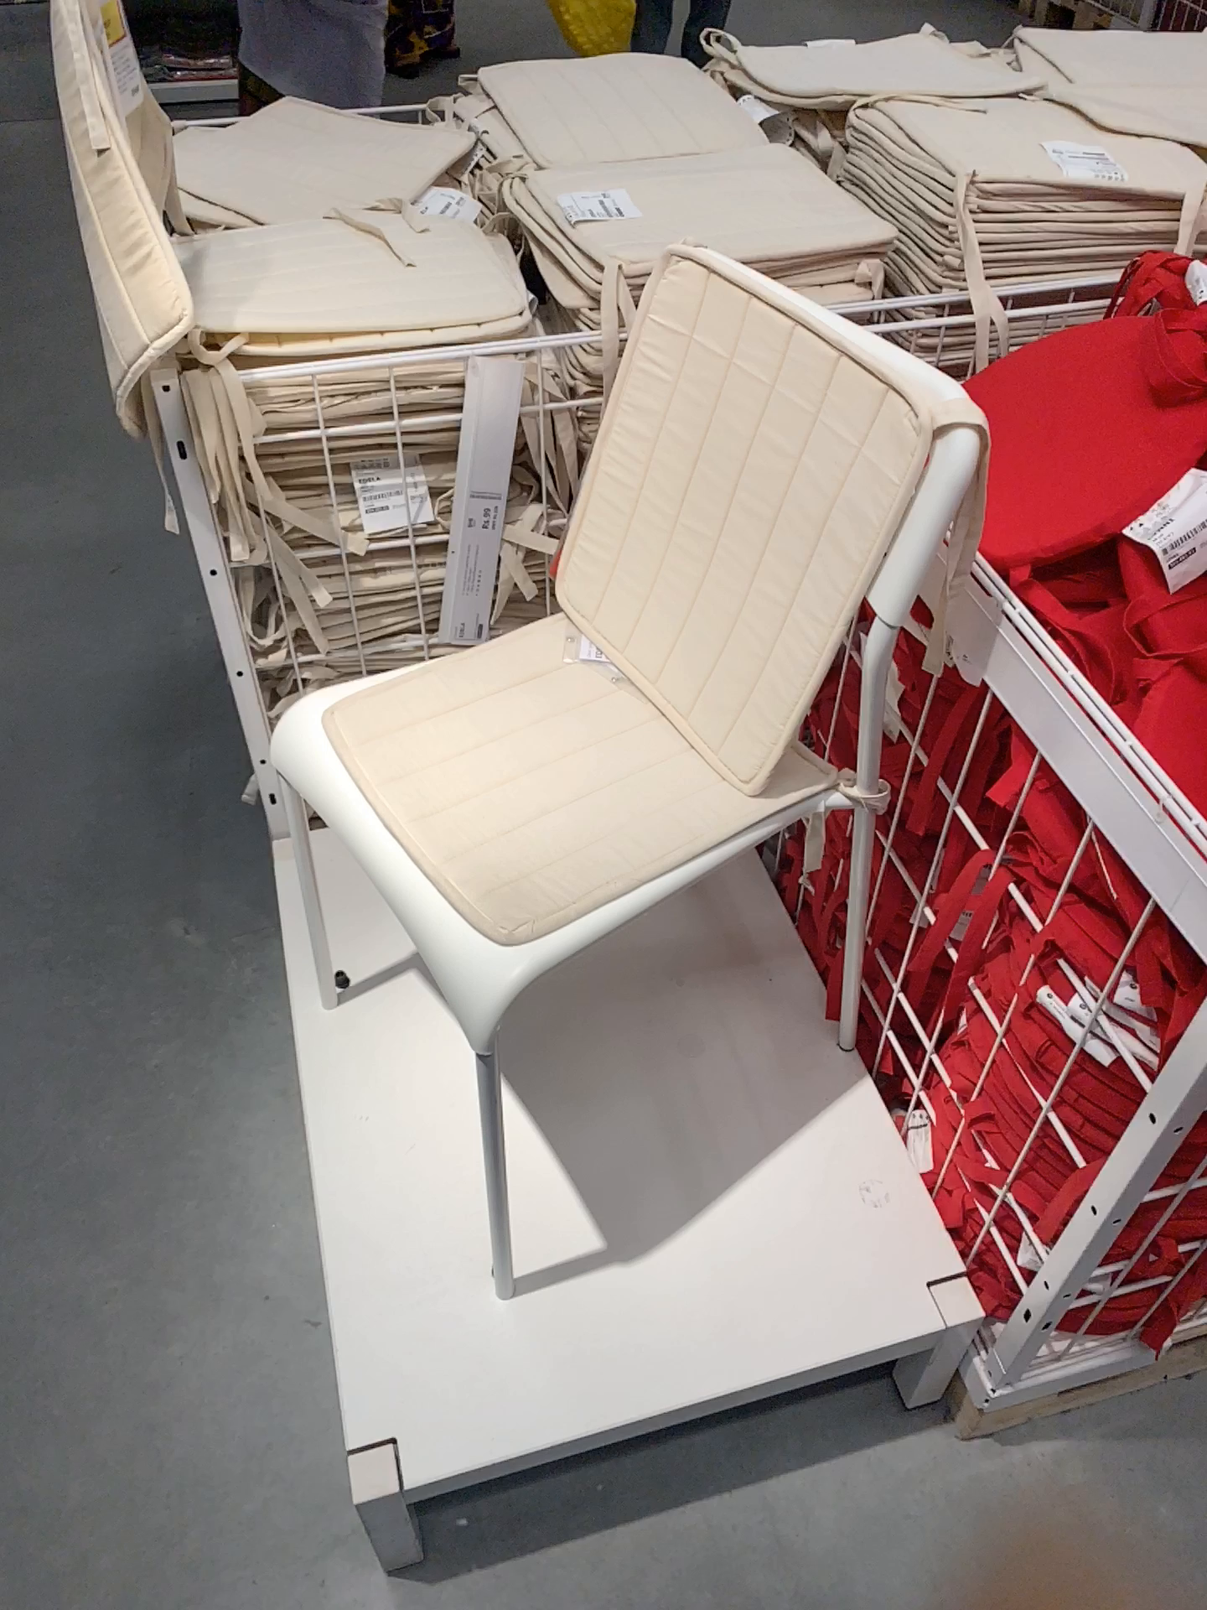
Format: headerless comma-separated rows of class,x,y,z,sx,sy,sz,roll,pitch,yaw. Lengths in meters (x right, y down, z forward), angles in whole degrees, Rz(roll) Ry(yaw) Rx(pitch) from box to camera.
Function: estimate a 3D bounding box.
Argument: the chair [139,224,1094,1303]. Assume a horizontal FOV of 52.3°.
chair,-0.007,-0.027,1.067,0.480,0.697,0.431,-25,50,-24
